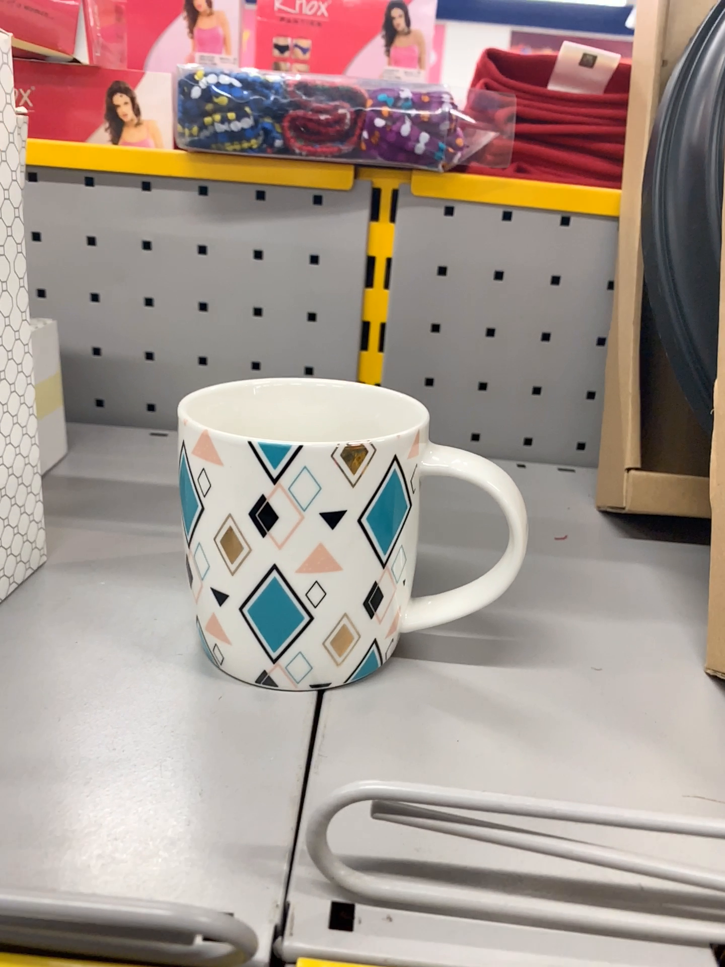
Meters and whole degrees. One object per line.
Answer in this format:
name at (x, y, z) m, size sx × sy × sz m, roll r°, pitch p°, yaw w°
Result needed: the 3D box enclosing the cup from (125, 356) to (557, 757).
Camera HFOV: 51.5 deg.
cup at (-0.003, 0.016, 0.266) m, size 0.120 × 0.090 × 0.100 m, roll 8°, pitch 21°, yaw 8°
